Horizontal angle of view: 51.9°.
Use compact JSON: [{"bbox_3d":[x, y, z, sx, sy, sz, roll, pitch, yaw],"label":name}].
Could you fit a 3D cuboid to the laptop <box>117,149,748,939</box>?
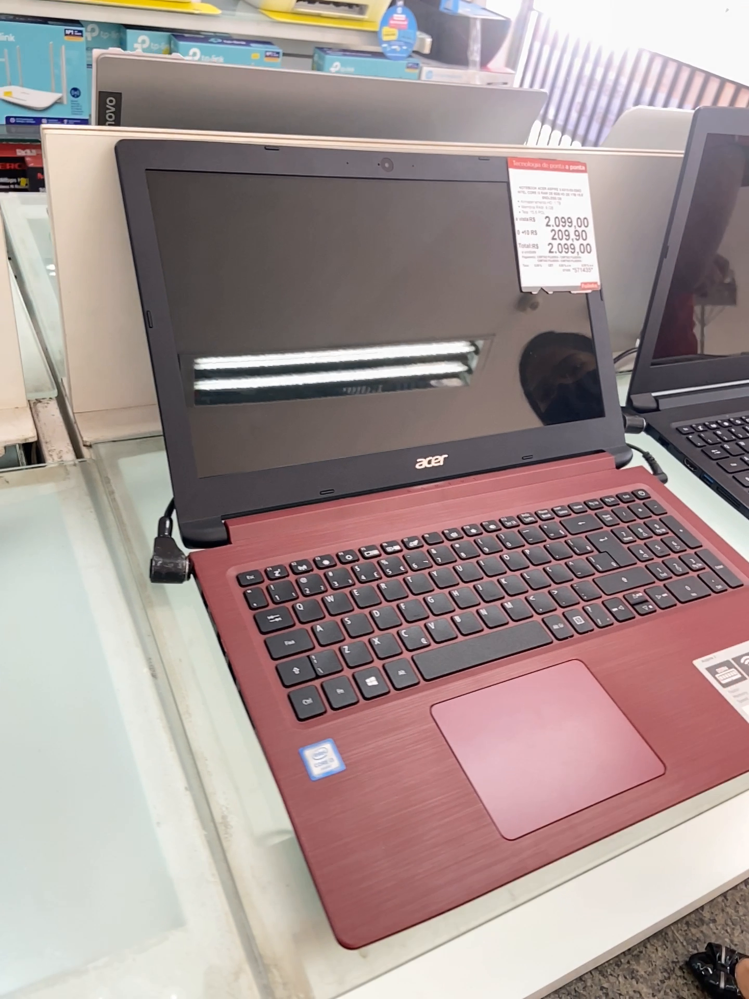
[{"bbox_3d":[0.083,-0.050,0.498,0.392,0.193,0.431,-10,43,-25],"label":"laptop"}]
